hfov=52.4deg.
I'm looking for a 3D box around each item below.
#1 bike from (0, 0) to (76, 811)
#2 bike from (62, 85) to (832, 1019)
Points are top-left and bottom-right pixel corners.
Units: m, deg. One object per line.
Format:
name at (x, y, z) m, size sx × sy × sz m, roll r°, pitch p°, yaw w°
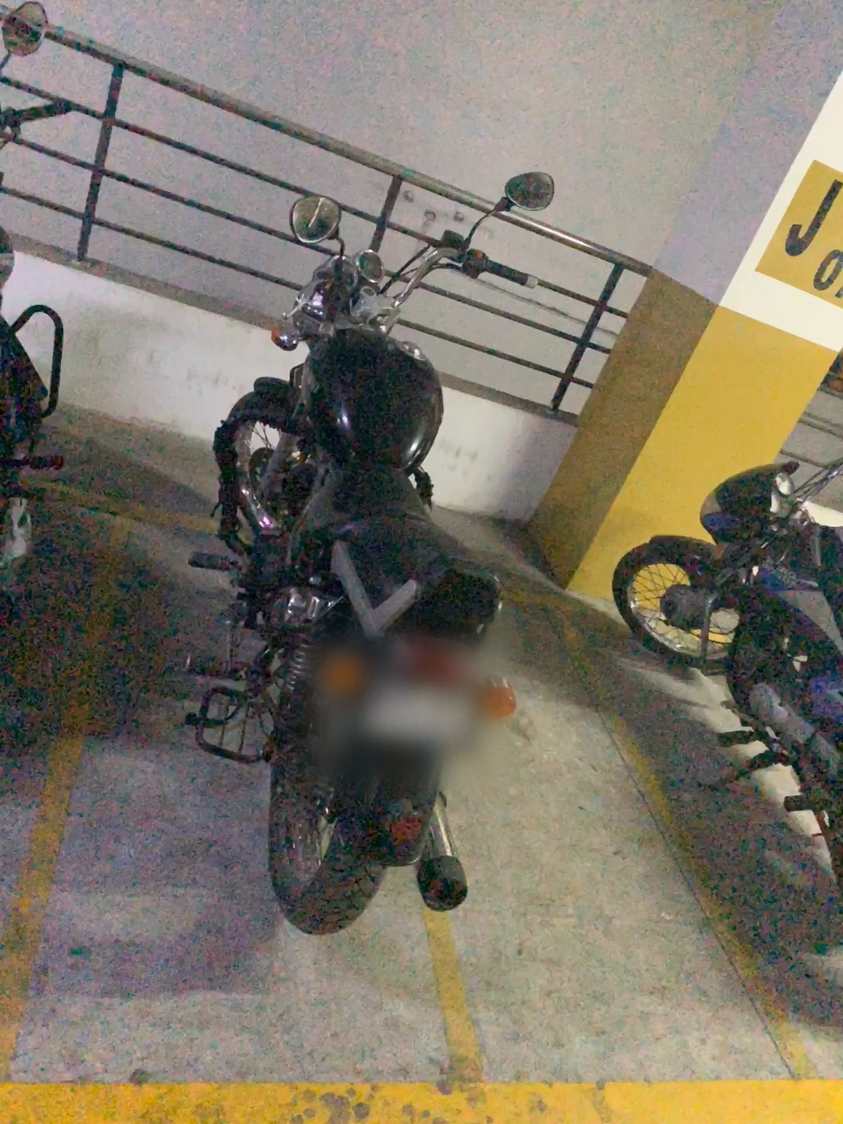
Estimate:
bike at (-1.376, -0.606, 2.018) m, size 0.720 × 1.277 × 1.569 m, roll 12°, pitch 32°, yaw -23°
bike at (-0.272, -0.173, 2.058) m, size 0.853 × 1.232 × 1.803 m, roll 10°, pitch 30°, yaw -26°
